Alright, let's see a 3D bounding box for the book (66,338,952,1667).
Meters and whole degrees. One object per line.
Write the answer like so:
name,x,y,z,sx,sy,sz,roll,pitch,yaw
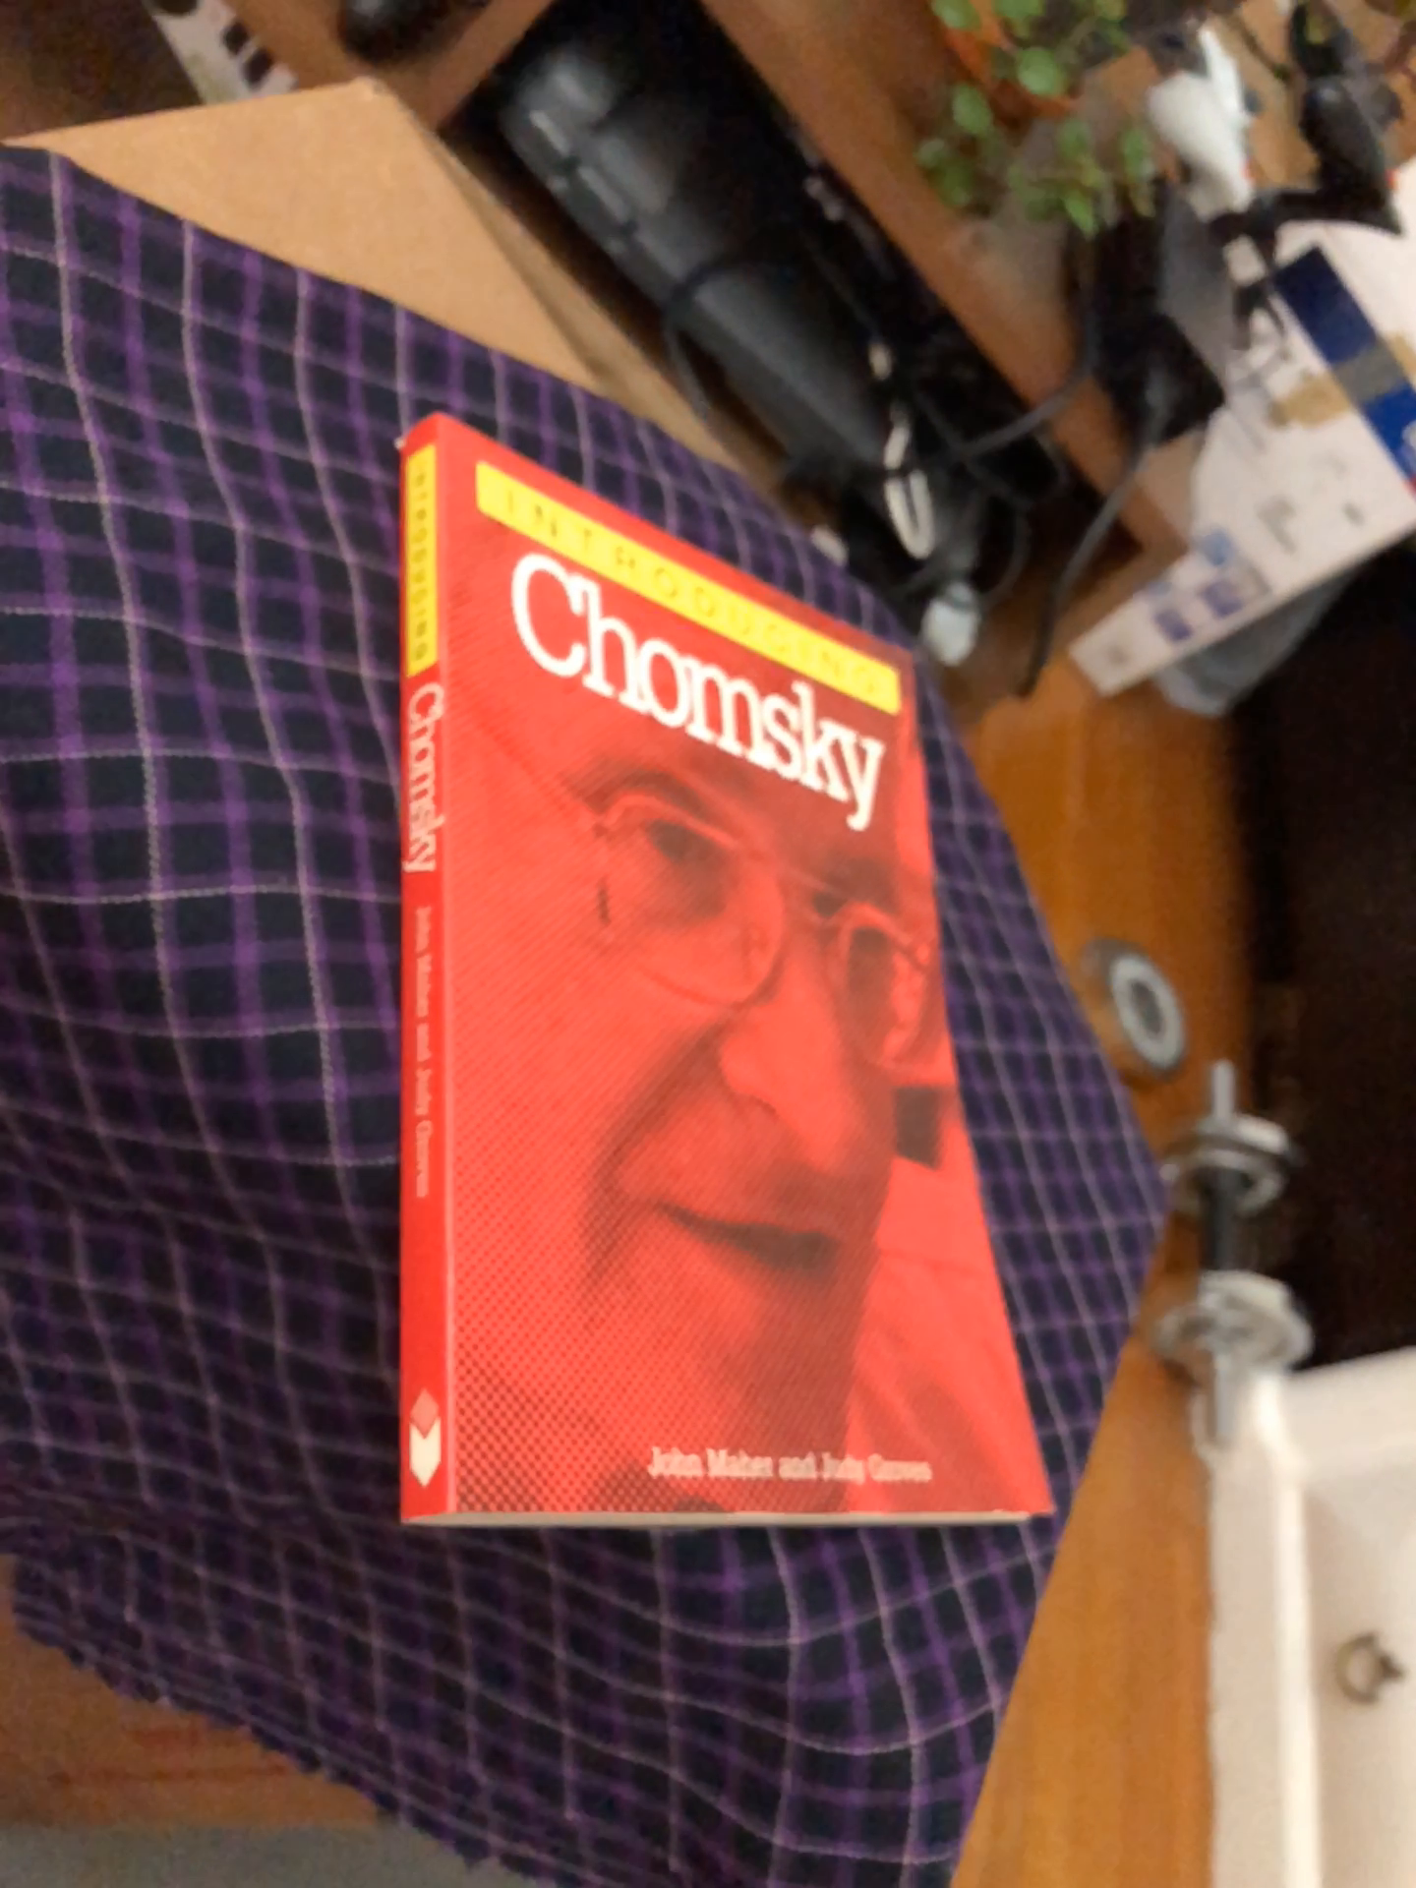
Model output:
book,-0.033,0.011,0.332,0.181,0.020,0.240,18,55,-42
